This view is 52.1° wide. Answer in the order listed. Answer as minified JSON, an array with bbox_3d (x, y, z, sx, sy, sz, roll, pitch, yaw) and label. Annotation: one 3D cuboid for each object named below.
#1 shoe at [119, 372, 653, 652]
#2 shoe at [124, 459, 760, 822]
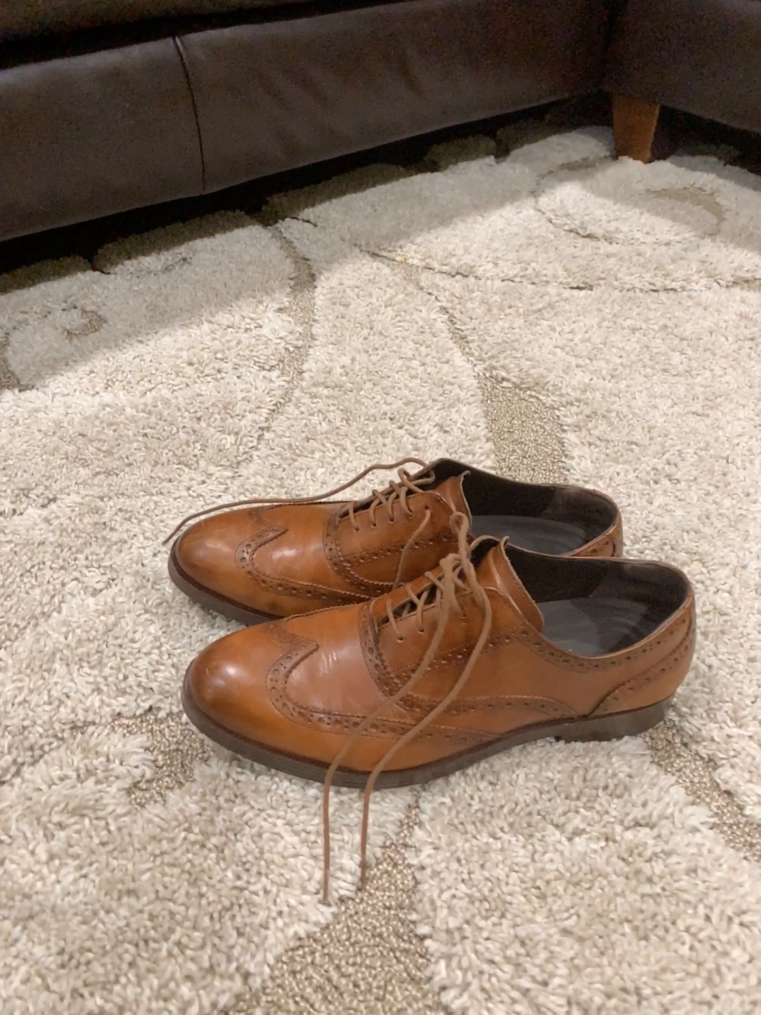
[{"bbox_3d":[0.002,0.003,0.494,0.282,0.131,0.106,-2,42,-2],"label":"shoe"},{"bbox_3d":[0.026,0.070,0.420,0.280,0.131,0.106,-5,42,-5],"label":"shoe"}]
